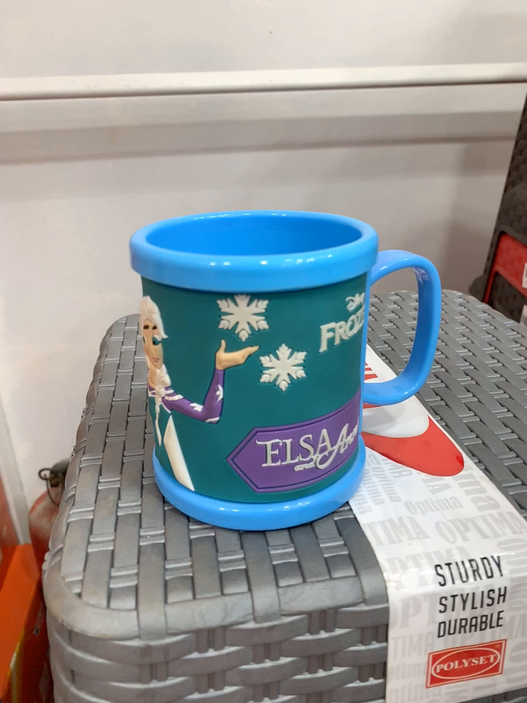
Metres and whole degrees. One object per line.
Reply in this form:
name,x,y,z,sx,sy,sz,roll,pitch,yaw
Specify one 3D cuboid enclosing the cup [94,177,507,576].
cup,0.009,-0.004,0.199,0.110,0.099,0.080,-12,25,-22
